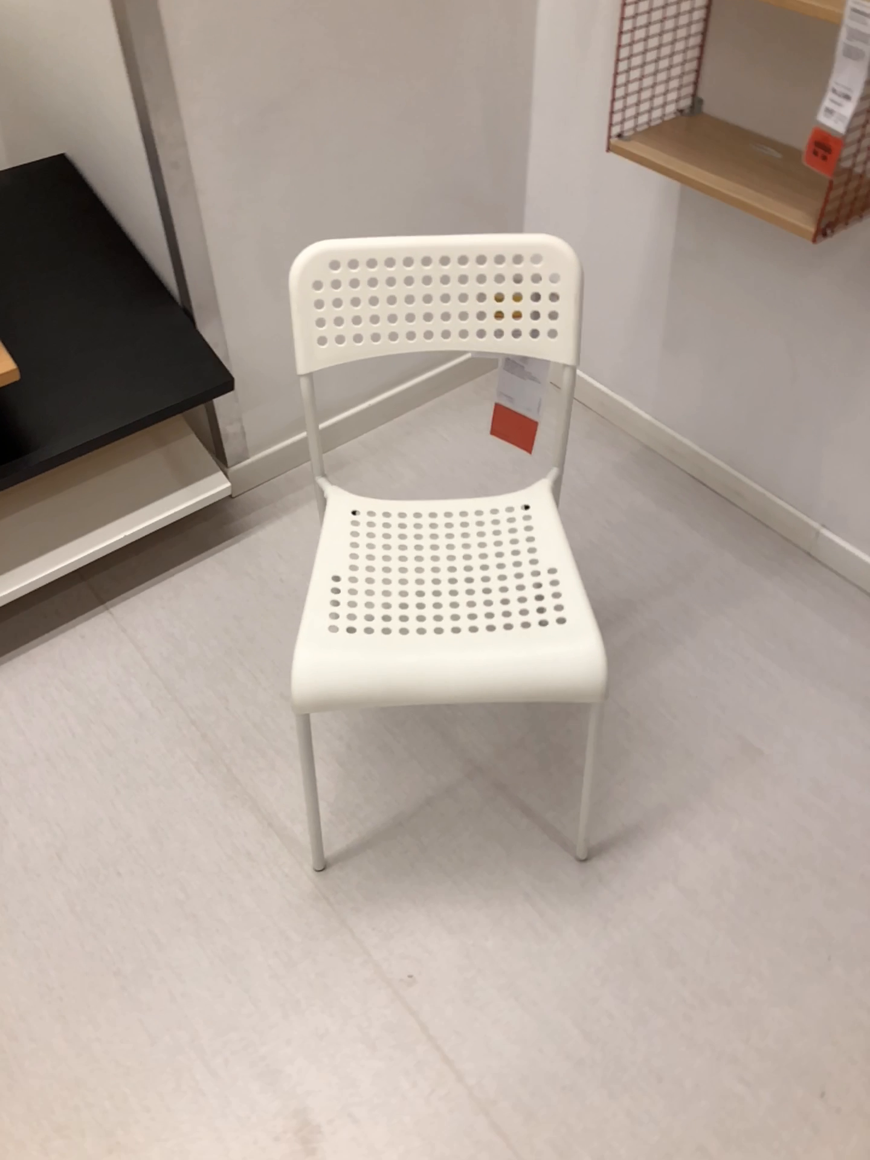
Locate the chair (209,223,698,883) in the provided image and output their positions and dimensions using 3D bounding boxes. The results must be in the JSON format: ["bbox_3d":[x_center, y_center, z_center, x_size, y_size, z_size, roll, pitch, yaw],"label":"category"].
[{"bbox_3d":[0.014,0.002,1.244,0.420,0.736,0.473,-2,47,-1],"label":"chair"}]
